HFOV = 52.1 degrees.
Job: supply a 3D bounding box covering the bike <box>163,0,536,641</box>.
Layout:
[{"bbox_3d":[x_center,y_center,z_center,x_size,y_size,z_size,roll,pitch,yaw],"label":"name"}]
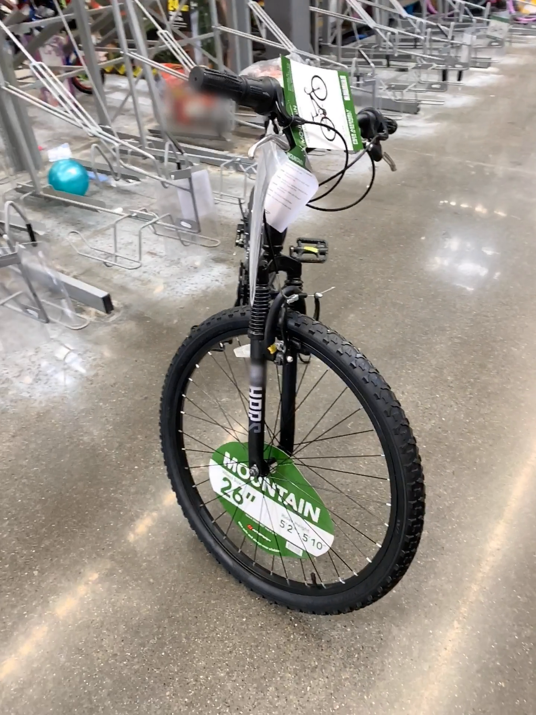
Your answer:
[{"bbox_3d":[0.169,-0.332,1.604,0.690,1.089,1.690,-9,41,-5],"label":"bike"}]
